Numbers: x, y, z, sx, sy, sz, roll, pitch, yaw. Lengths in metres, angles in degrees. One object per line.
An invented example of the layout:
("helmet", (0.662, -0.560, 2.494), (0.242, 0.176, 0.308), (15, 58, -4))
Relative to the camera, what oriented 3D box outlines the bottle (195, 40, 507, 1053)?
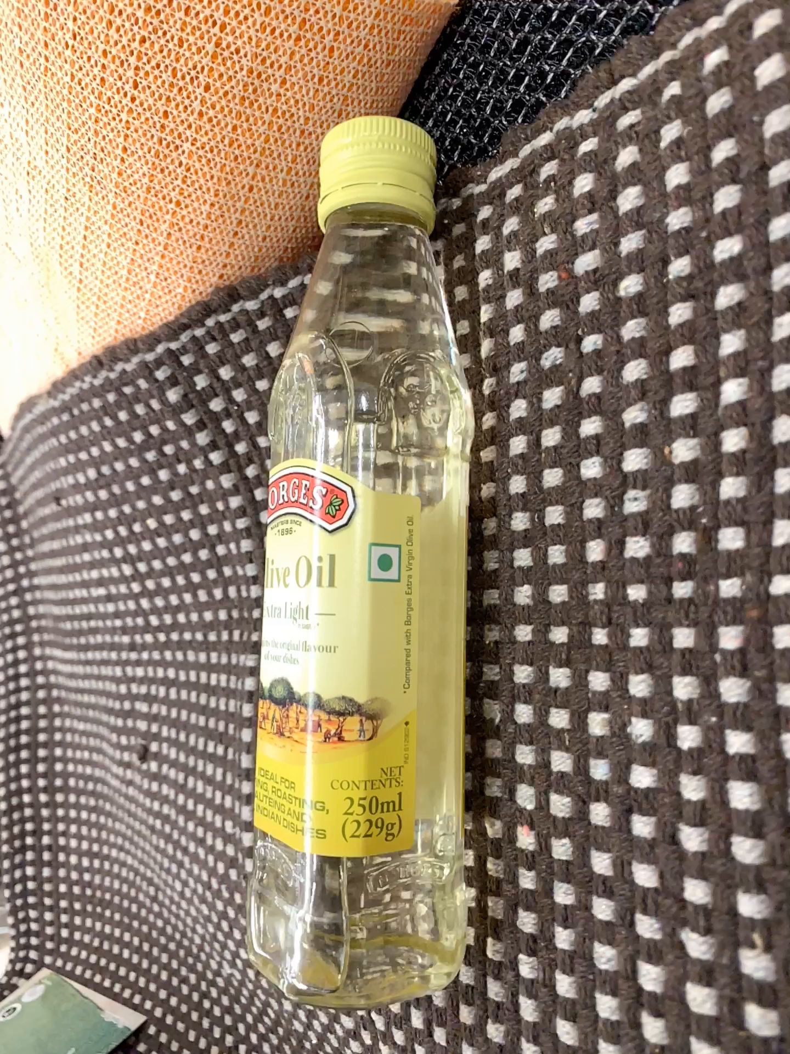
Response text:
("bottle", (-0.012, 0.004, 0.196), (0.060, 0.040, 0.200), (-1, 86, 56))
